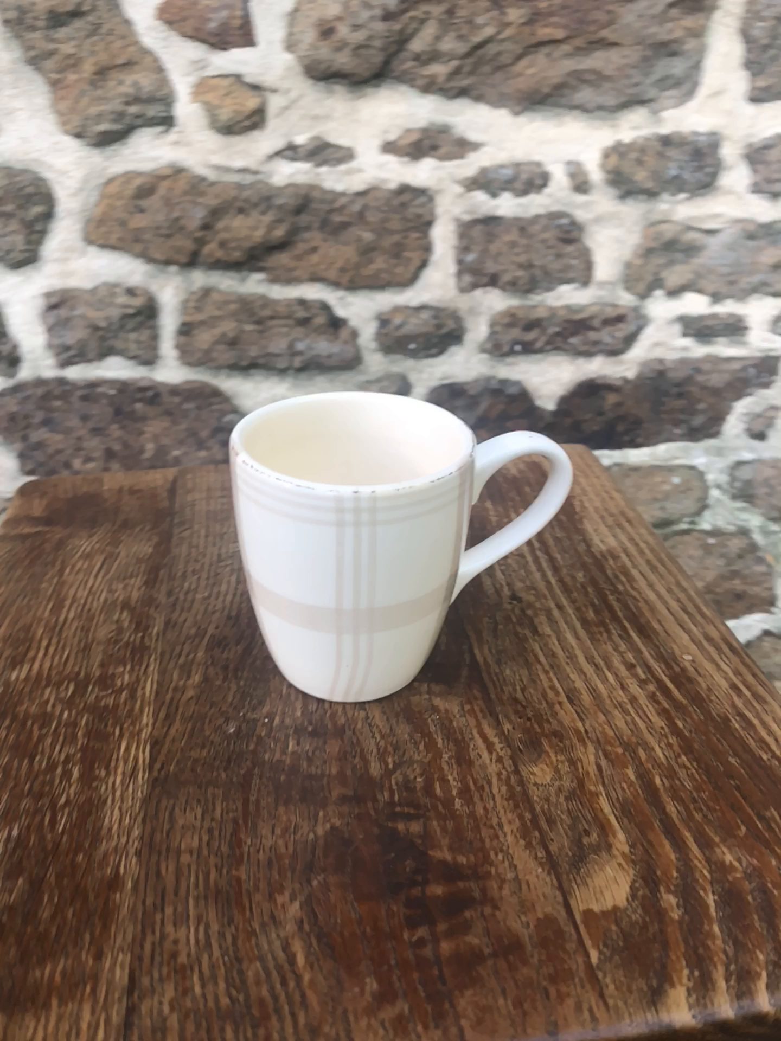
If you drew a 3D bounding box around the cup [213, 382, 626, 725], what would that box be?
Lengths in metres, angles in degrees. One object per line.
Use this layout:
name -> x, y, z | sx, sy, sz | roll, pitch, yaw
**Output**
cup -> 0.004, 0.006, 0.318 | 0.125, 0.078, 0.088 | -7, 30, -13
